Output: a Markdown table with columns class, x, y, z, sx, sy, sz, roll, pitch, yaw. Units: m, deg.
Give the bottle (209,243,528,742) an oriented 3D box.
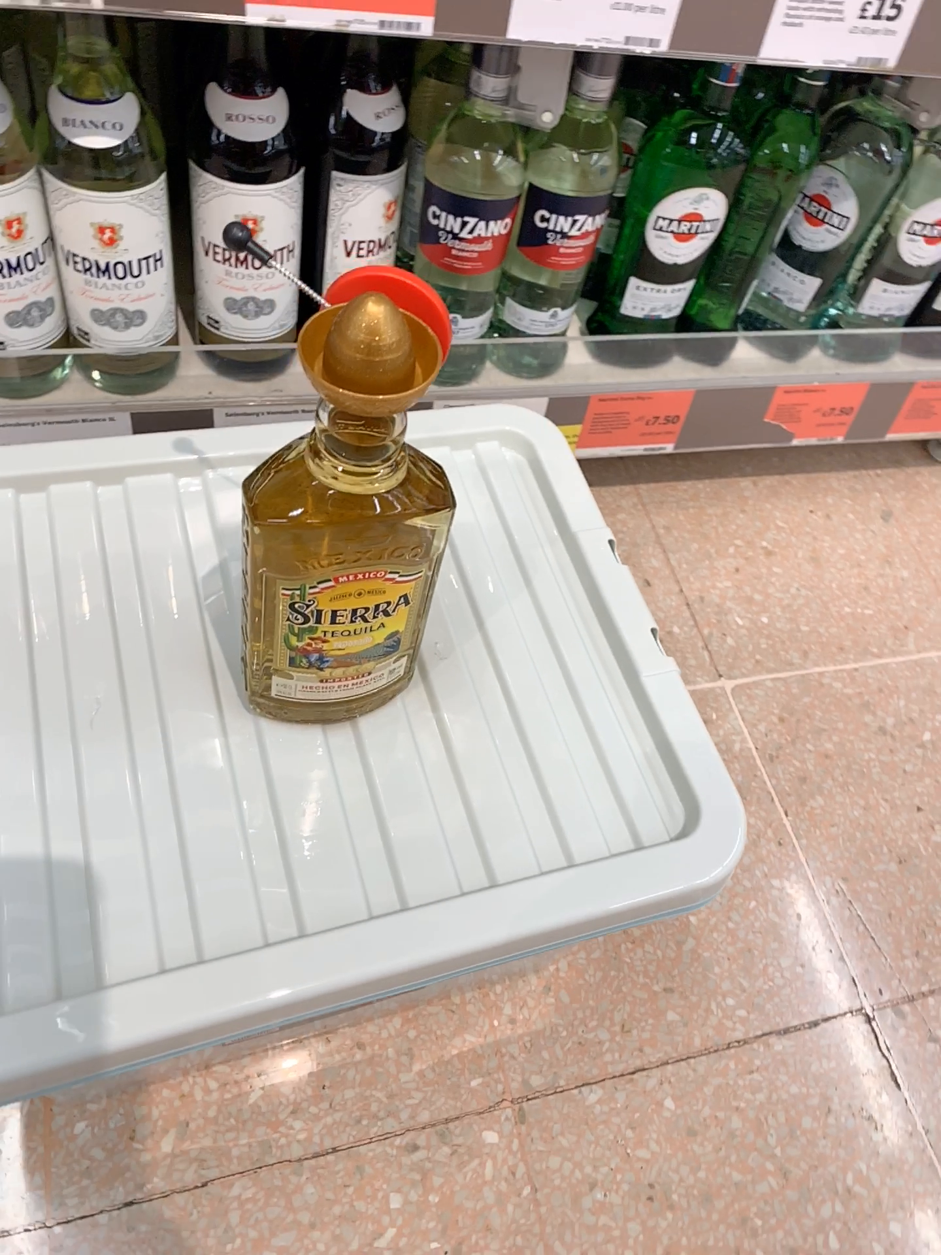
| class | x | y | z | sx | sy | sz | roll | pitch | yaw |
| --- | --- | --- | --- | --- | --- | --- | --- | --- | --- |
| bottle | -0.059 | -0.042 | 0.439 | 0.100 | 0.258 | 0.058 | -9 | 58 | -18 |
